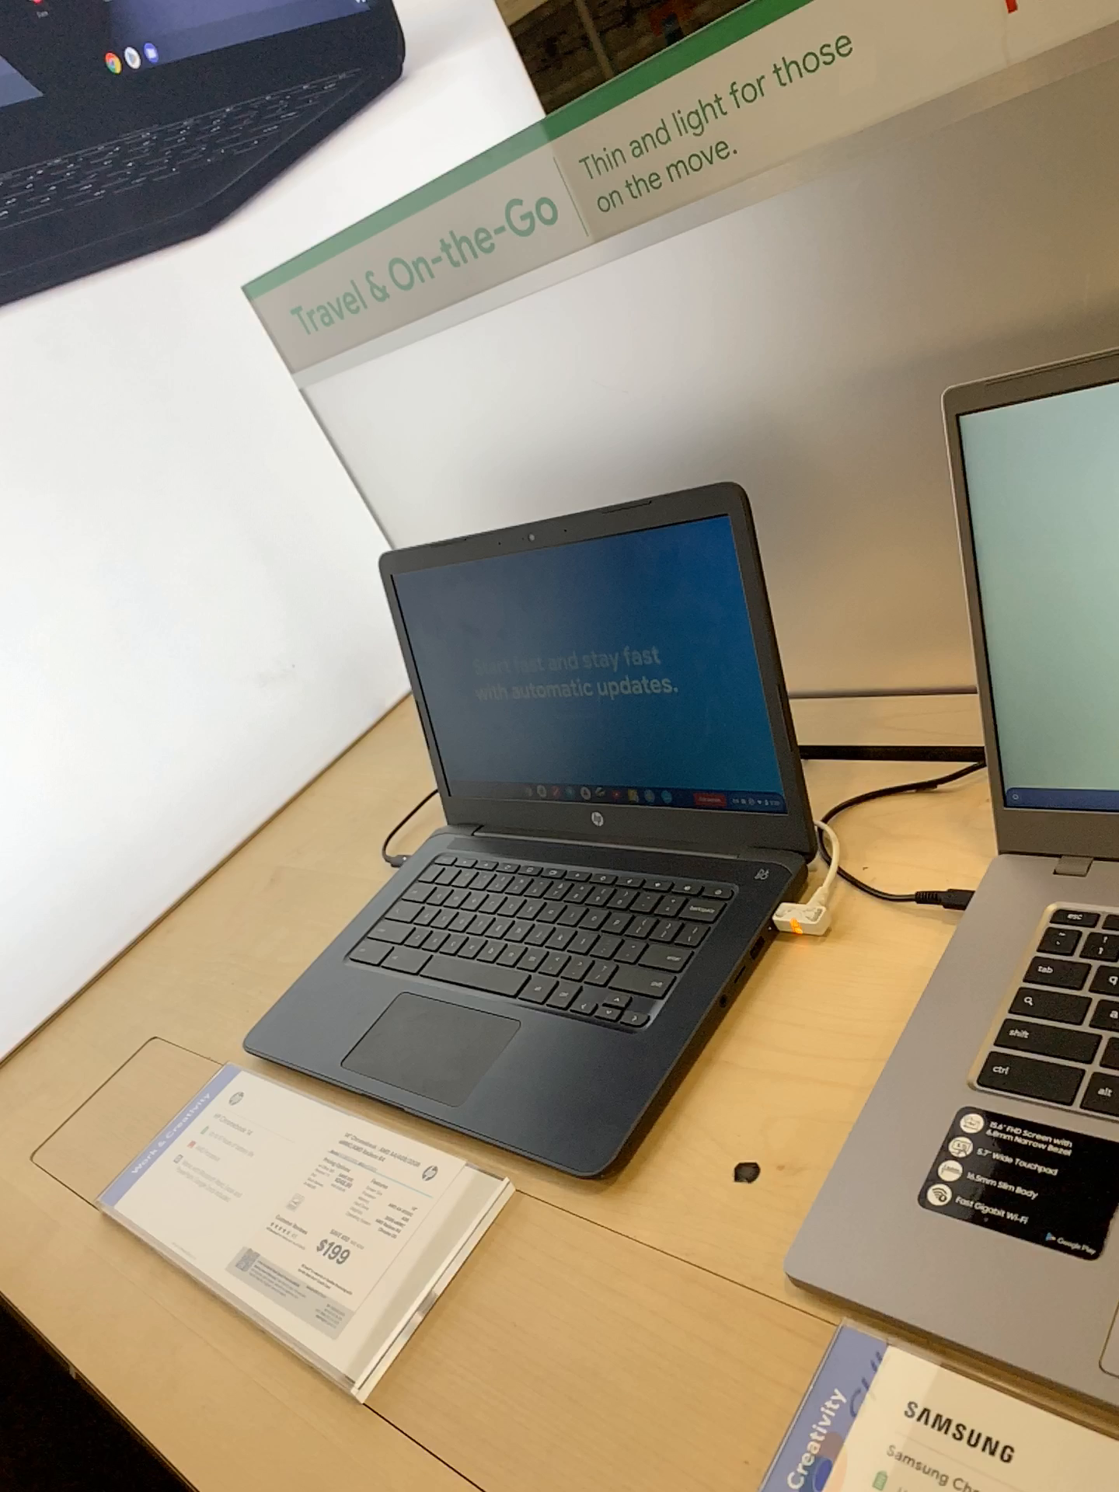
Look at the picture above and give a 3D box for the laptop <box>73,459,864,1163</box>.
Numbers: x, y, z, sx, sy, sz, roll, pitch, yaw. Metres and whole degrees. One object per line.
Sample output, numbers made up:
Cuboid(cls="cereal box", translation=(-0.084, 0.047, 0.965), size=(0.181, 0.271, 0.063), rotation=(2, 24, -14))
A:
Cuboid(cls="laptop", translation=(-0.054, 0.023, 0.682), size=(0.320, 0.198, 0.292), rotation=(-1, 37, 47))
